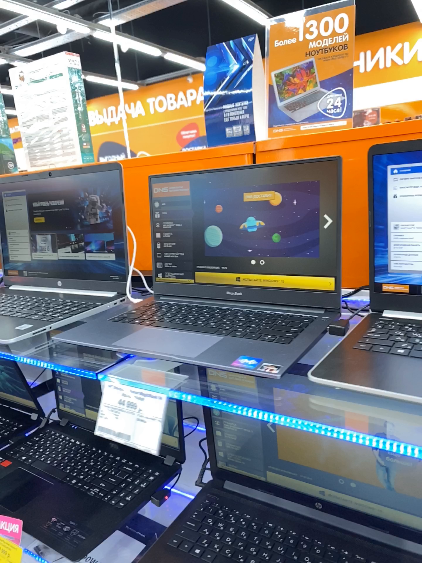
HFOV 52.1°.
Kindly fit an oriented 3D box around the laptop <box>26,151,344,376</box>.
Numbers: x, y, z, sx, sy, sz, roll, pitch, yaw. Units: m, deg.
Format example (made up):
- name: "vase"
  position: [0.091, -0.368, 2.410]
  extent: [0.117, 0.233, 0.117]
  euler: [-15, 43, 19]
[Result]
- name: "laptop"
  position: [-0.022, -0.044, 0.568]
  extent: [0.324, 0.203, 0.237]
  euler: [3, 14, 31]
